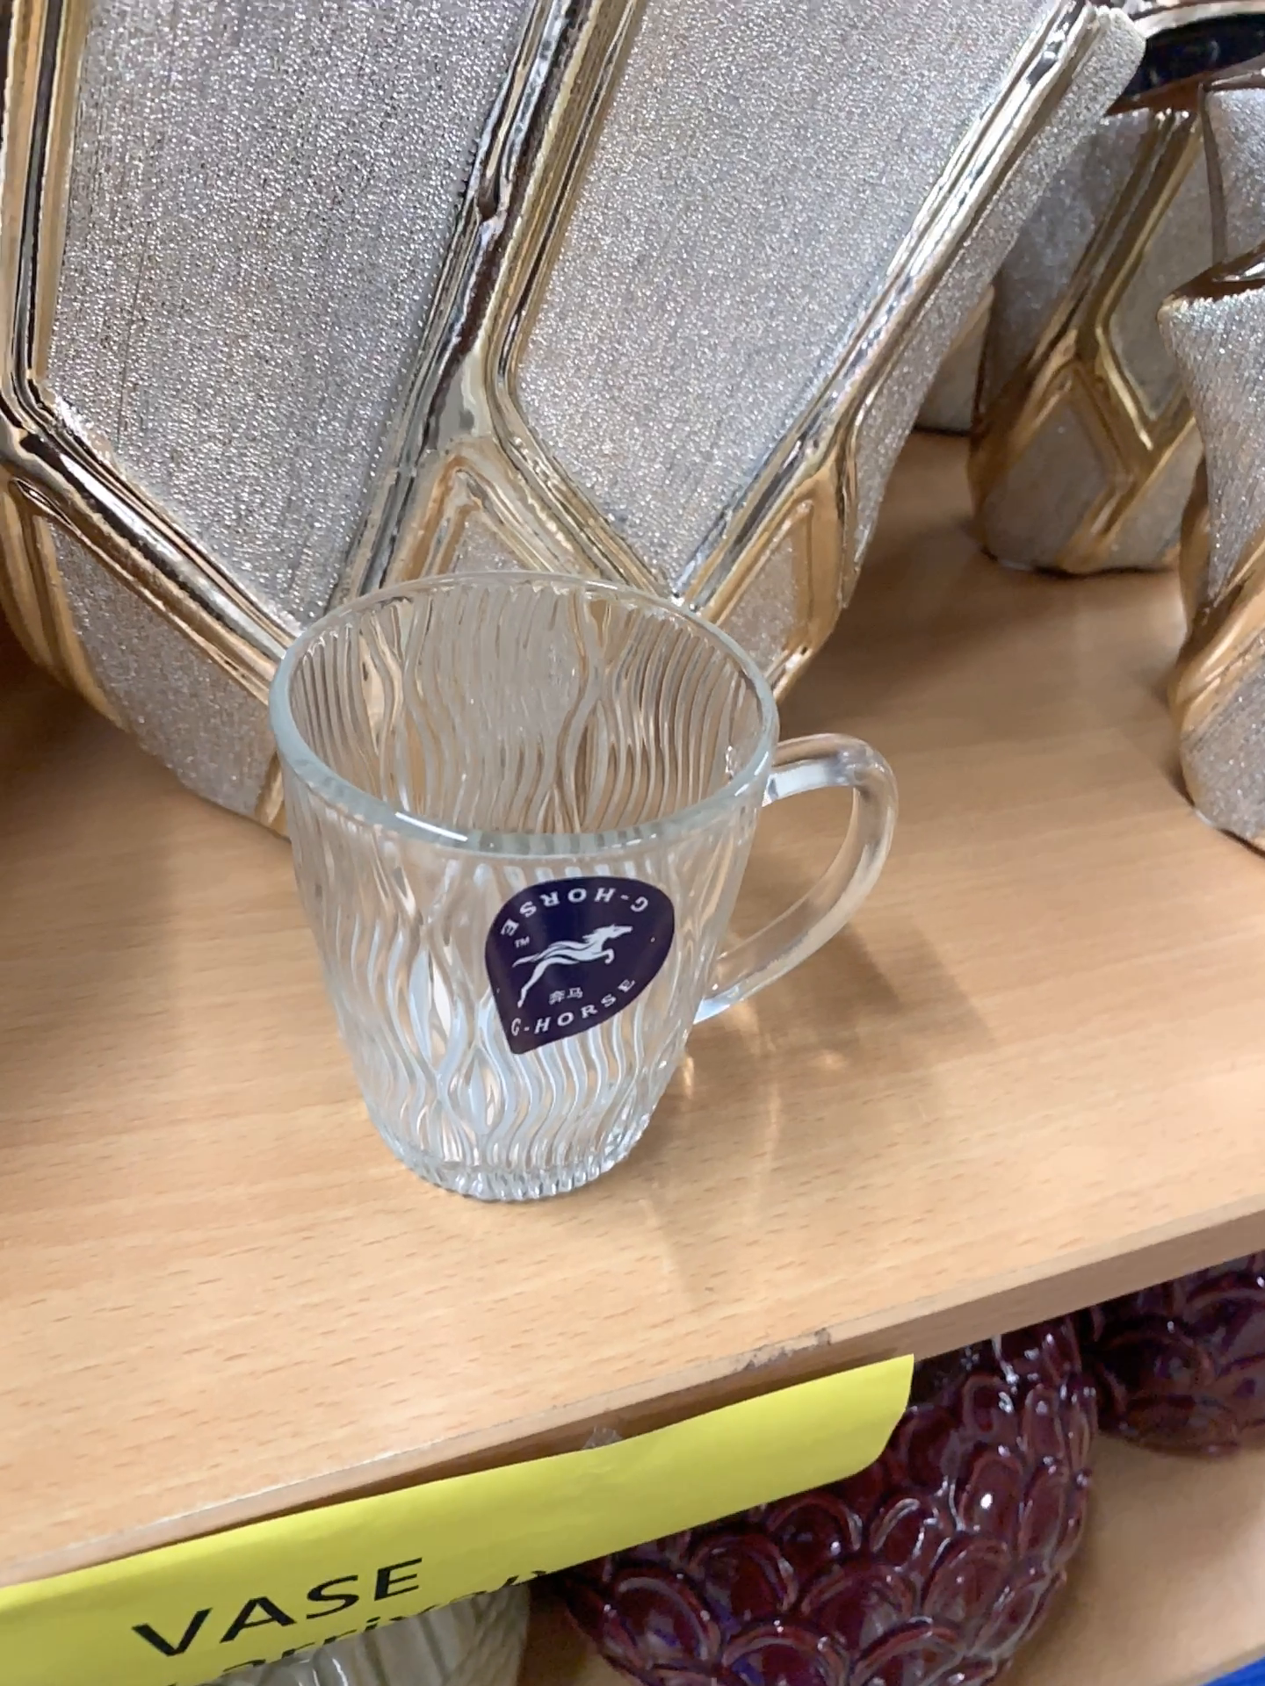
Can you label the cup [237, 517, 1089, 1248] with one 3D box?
[{"bbox_3d":[-0.002,0.000,0.203,0.100,0.070,0.070,-9,39,-18],"label":"cup"}]
